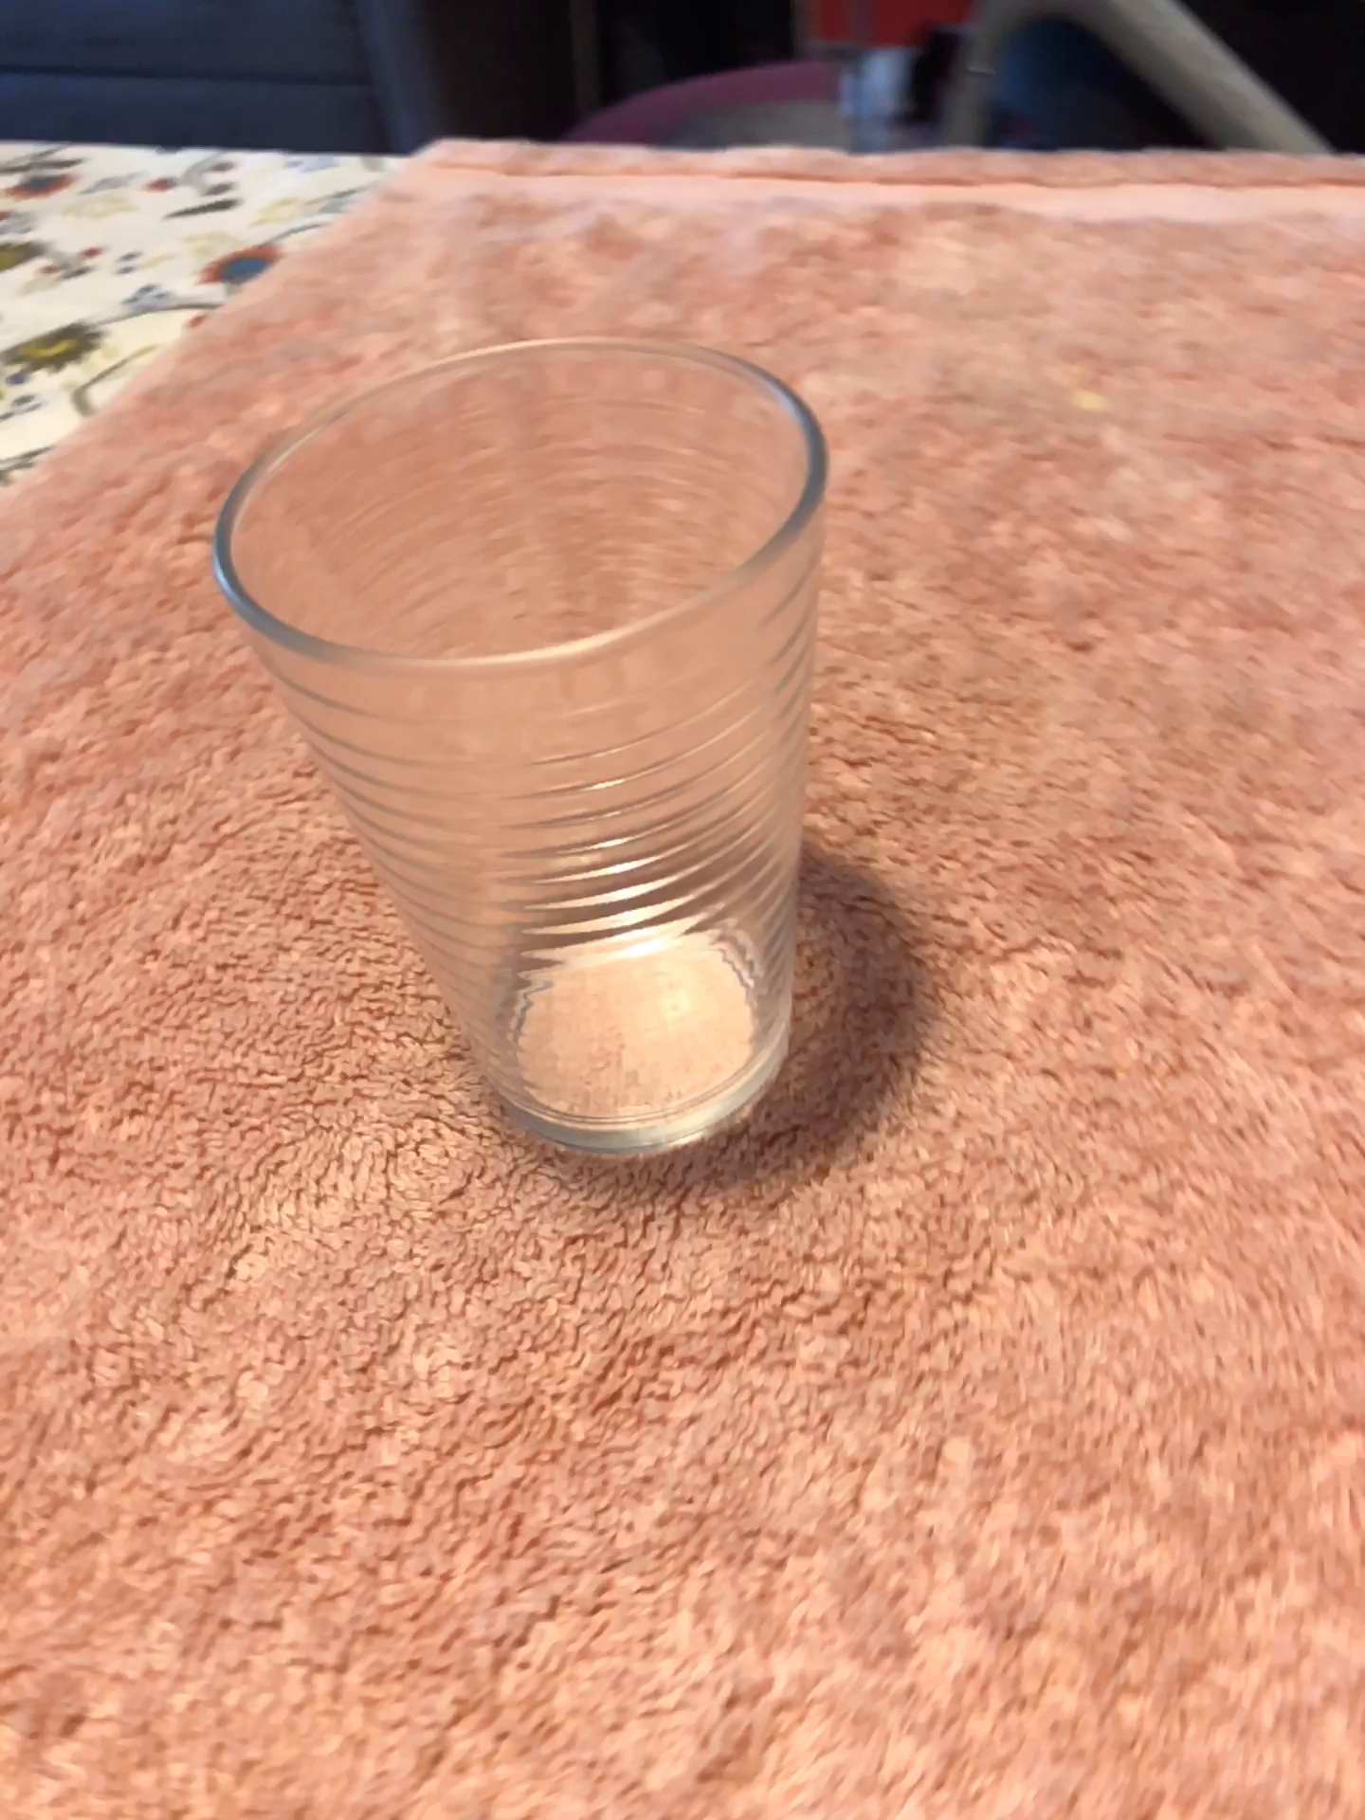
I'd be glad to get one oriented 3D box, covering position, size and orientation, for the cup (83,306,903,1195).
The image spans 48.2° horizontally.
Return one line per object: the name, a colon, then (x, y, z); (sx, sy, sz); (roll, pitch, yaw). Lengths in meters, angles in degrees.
cup: (-0.013, -0.024, 0.216); (0.080, 0.089, 0.081); (-4, 45, 4)
